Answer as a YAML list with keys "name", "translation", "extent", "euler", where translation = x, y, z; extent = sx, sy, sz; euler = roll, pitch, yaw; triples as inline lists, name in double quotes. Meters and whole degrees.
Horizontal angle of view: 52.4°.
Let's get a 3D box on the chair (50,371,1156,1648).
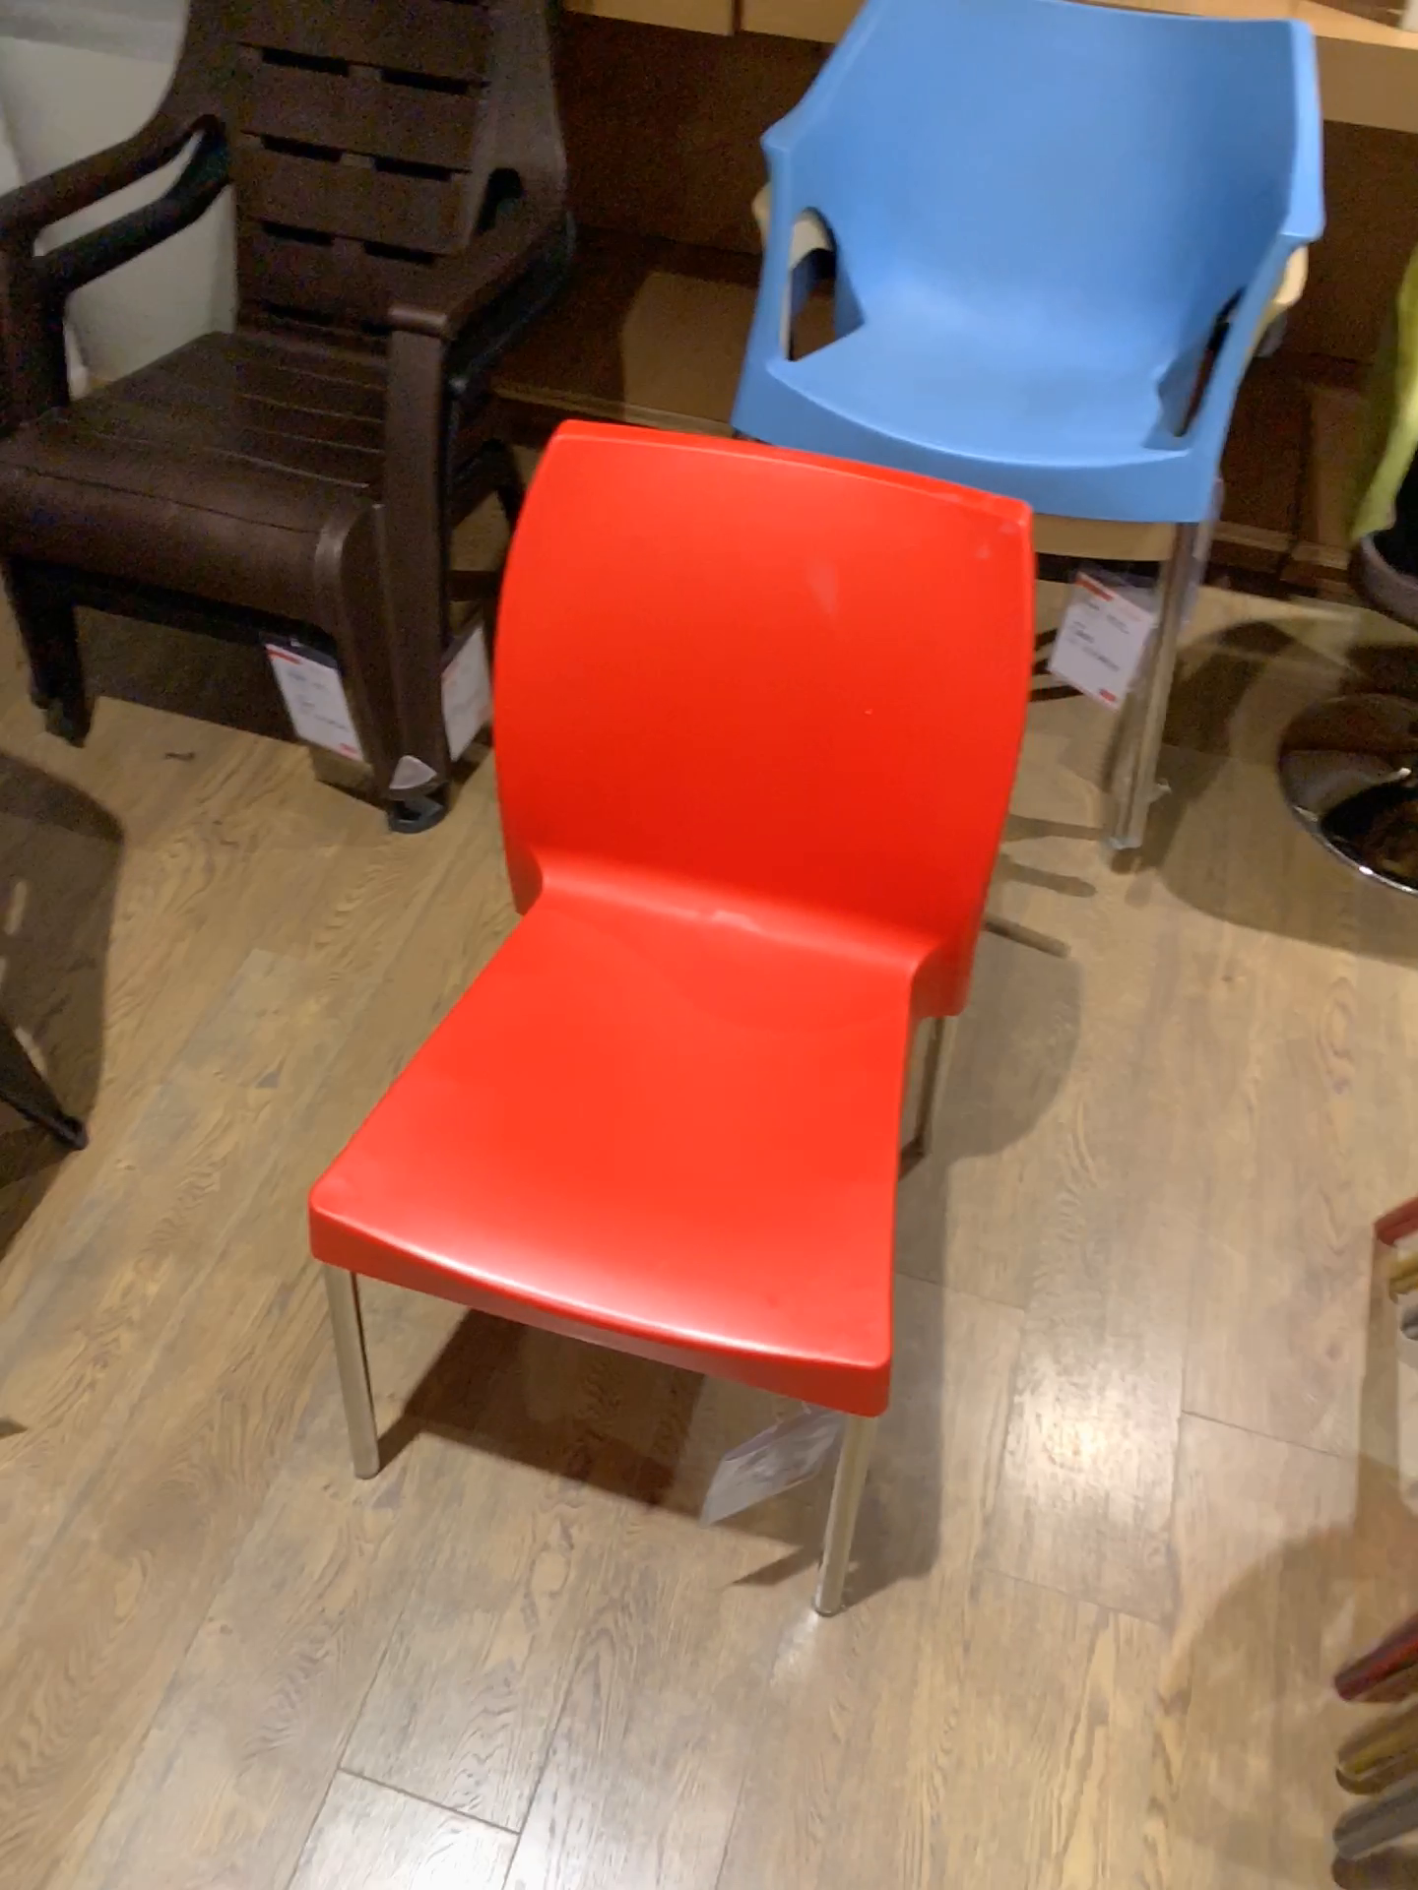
- name: "chair"
  translation: [-0.020, 0.087, 1.180]
  extent: [0.520, 0.787, 0.592]
  euler: [13, 50, 8]
